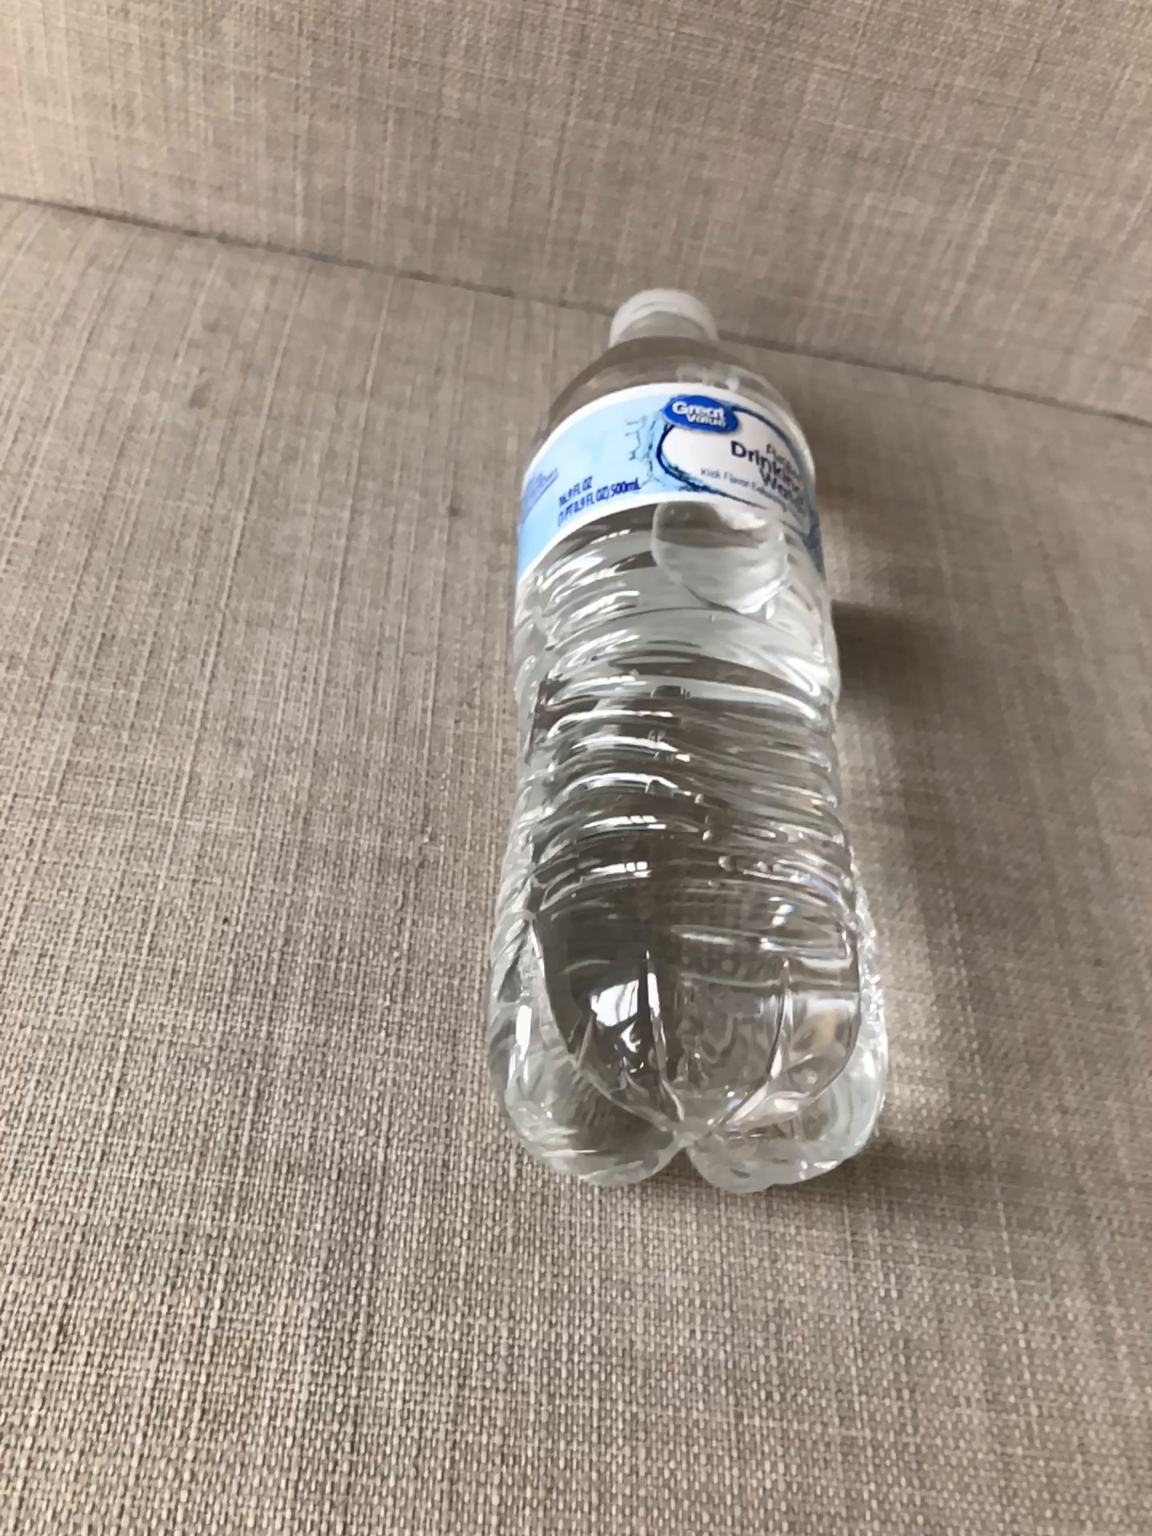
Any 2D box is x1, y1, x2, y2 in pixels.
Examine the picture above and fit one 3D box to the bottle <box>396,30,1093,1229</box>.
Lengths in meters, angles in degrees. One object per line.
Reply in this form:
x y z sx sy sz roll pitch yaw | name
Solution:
0.024 -0.039 0.264 0.070 0.079 0.231 29 46 -35 | bottle
